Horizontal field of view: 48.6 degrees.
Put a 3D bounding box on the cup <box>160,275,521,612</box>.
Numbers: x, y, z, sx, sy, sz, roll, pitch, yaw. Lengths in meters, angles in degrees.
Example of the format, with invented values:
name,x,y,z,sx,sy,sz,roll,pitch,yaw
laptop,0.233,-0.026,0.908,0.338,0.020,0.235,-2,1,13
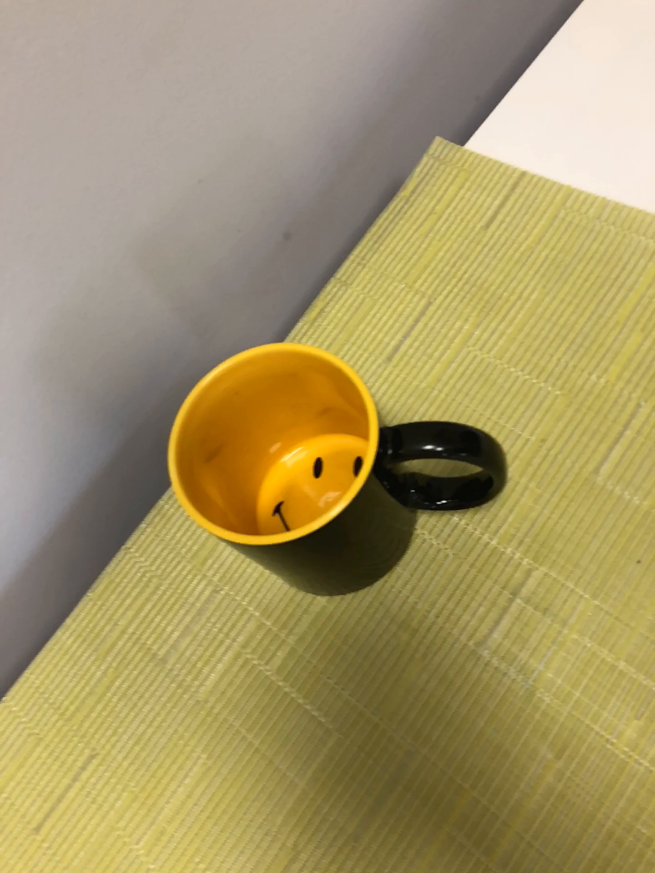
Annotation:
name,x,y,z,sx,sy,sz,roll,pitch,yaw
cup,0.010,0.012,0.300,0.119,0.104,0.088,-10,65,12
